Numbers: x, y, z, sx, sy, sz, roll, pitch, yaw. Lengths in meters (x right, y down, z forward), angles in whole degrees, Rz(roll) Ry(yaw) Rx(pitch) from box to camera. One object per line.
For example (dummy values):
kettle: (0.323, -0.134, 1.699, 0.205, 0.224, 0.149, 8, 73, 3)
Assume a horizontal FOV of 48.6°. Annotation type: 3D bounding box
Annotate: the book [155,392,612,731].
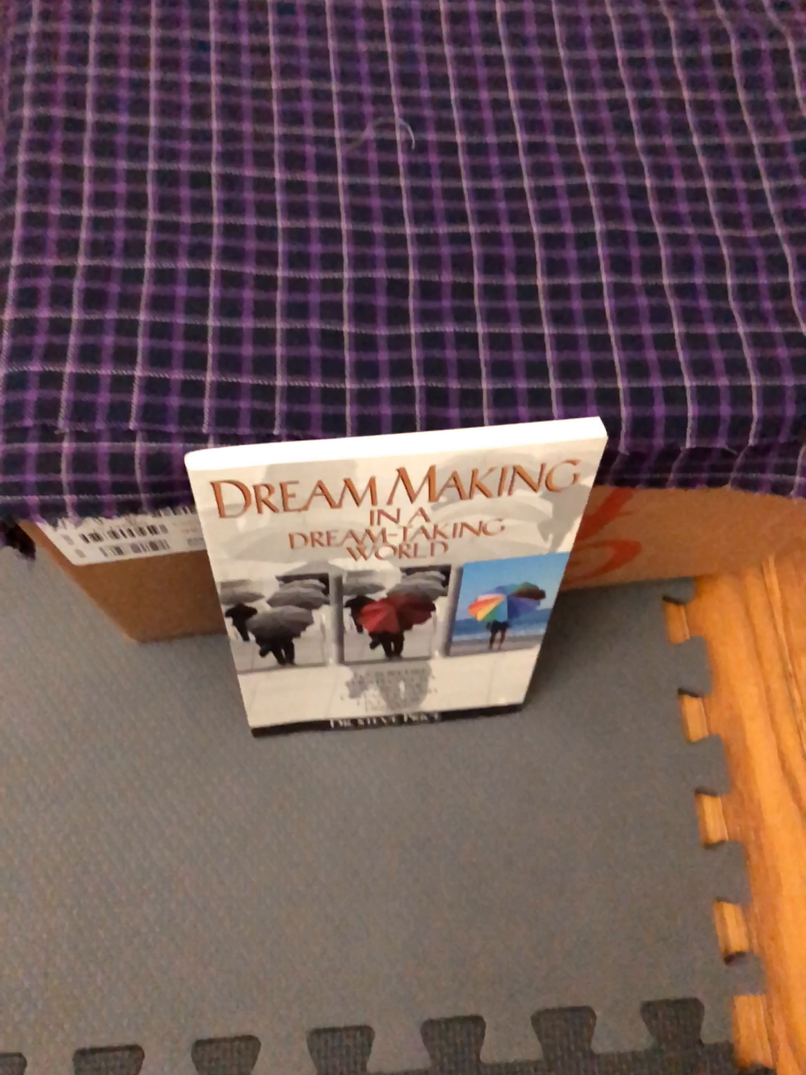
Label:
book: (-0.008, 0.026, 0.387, 0.150, 0.219, 0.020, -3, 54, -3)
